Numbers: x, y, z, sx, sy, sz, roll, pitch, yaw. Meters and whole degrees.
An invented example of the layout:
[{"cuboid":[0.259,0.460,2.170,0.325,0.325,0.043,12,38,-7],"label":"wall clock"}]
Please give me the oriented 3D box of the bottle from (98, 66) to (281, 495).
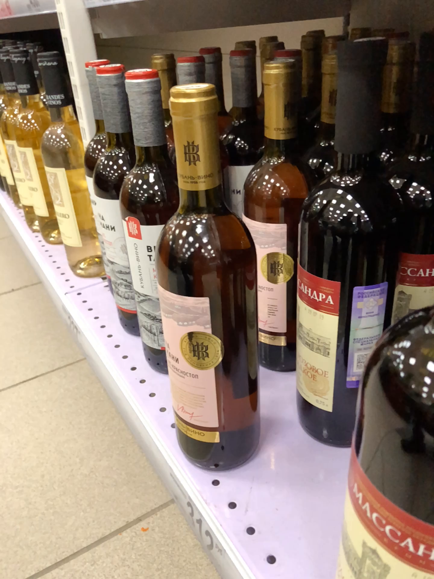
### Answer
[{"cuboid":[-0.008,0.004,0.342,0.070,0.290,0.080,-25,35,-33],"label":"bottle"}]
